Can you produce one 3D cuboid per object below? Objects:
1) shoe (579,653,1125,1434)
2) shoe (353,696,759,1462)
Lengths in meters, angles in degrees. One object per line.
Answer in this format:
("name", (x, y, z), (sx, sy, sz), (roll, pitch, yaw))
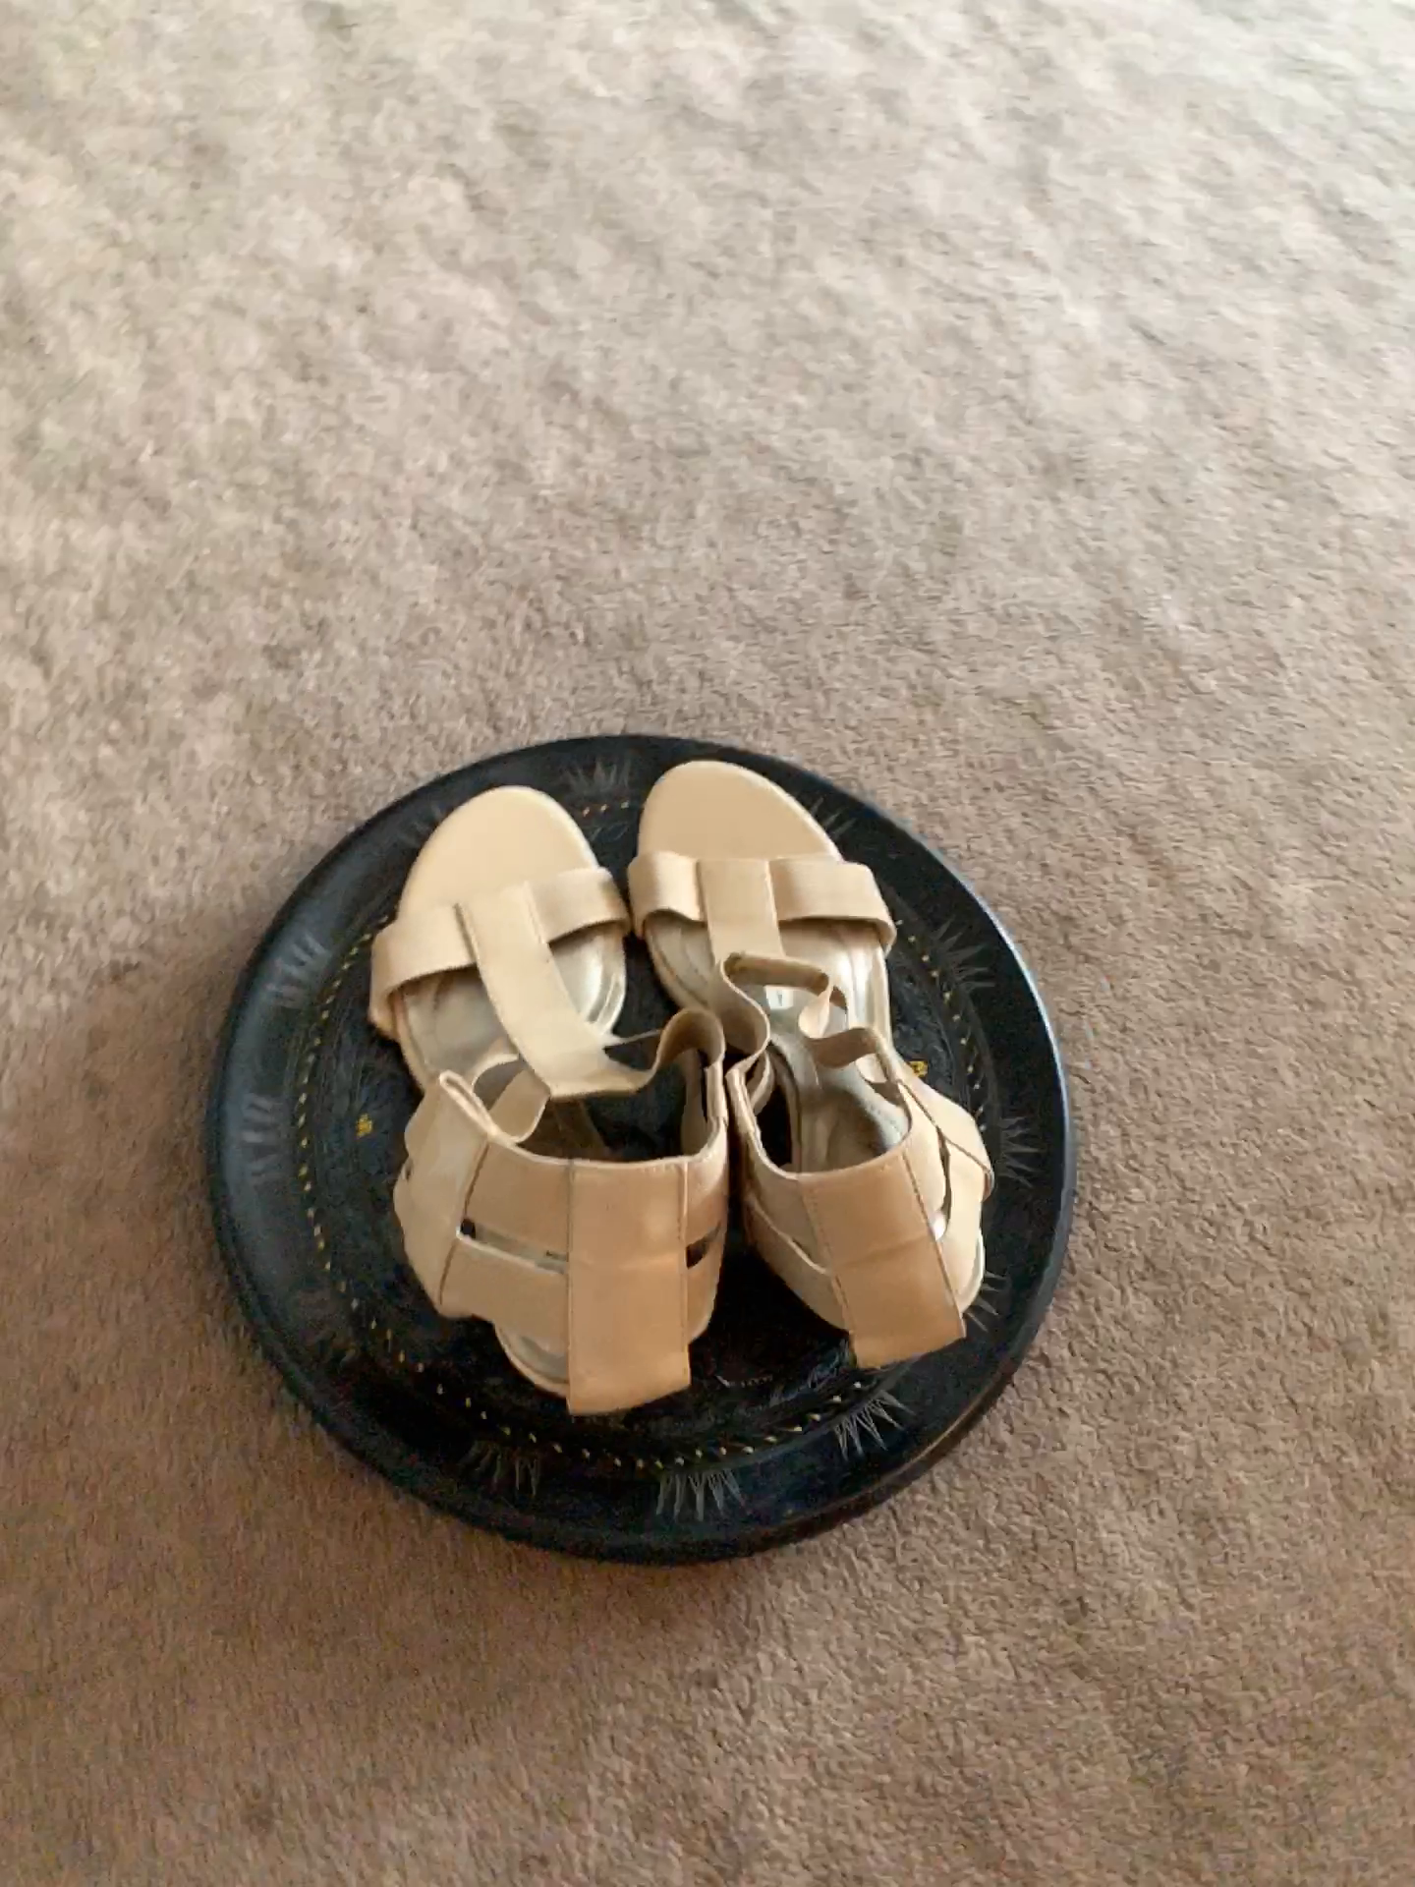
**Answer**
("shoe", (0.036, 0.021, 0.480), (0.100, 0.089, 0.231), (-15, 50, -5))
("shoe", (-0.055, 0.031, 0.462), (0.090, 0.089, 0.221), (-7, 49, -10))
